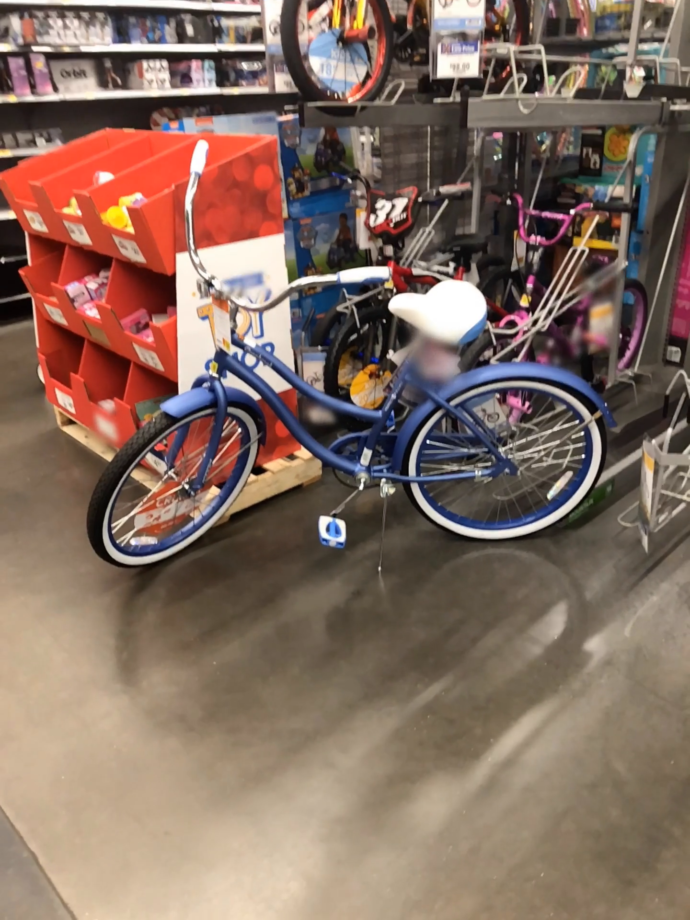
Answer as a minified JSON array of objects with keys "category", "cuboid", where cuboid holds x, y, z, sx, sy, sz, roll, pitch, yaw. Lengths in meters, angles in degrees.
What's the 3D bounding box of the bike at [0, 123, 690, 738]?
[{"category":"bike","cuboid":[-0.007,-0.166,1.925,1.353,1.114,0.861,-7,26,-6]}]
